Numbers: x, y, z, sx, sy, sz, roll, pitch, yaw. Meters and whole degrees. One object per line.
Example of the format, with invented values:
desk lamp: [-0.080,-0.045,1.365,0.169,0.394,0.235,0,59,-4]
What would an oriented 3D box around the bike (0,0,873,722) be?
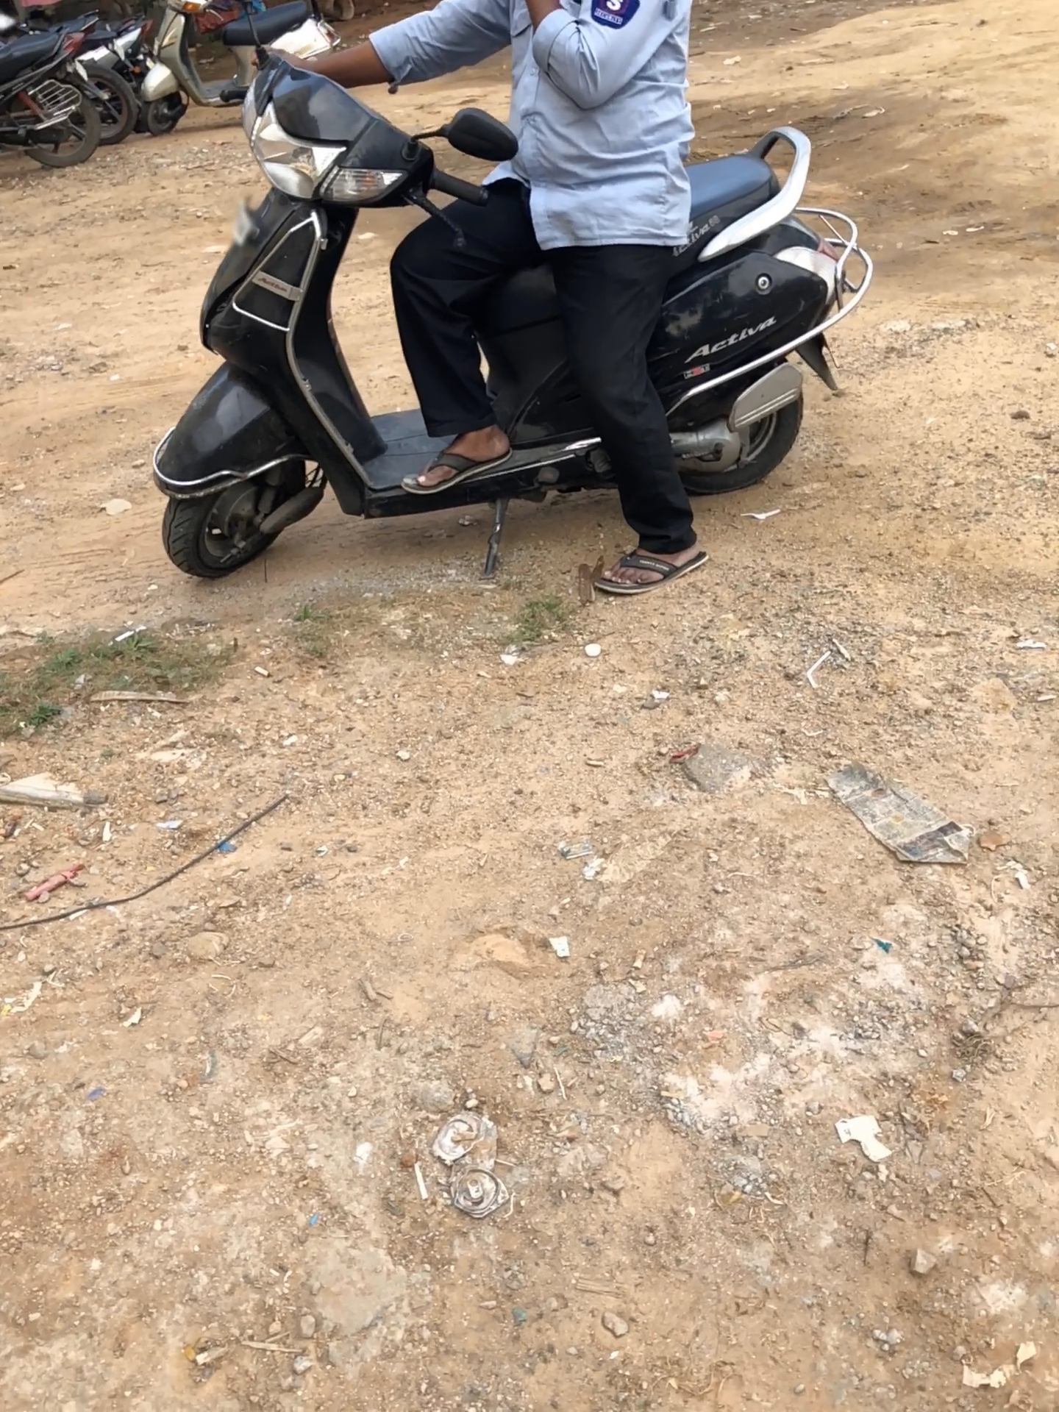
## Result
bike: [-0.125,-0.755,2.451,1.523,1.102,0.577,-14,35,-3]
